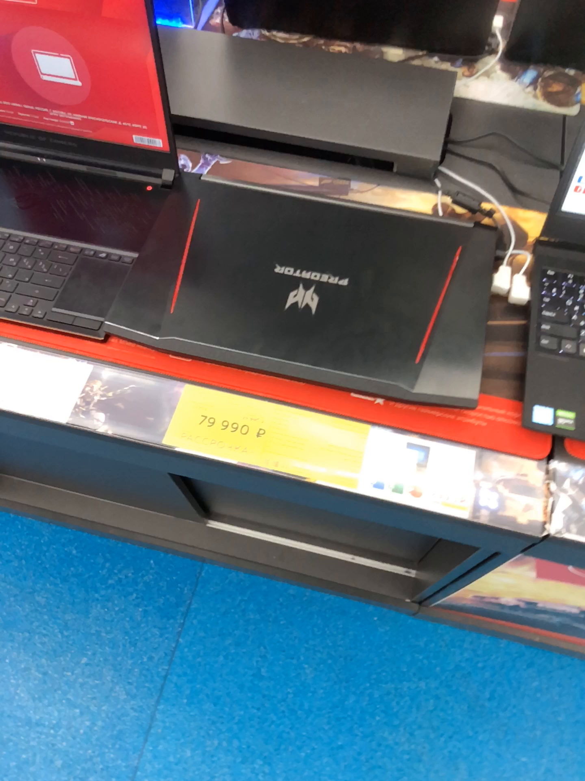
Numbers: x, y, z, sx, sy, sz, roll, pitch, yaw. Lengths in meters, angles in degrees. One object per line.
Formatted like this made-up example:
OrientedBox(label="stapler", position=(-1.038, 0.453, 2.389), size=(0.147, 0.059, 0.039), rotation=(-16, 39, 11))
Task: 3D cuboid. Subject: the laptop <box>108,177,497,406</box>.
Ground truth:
OrientedBox(label="laptop", position=(0.022, -0.121, 0.698), size=(0.377, 0.004, 0.228), rotation=(13, 59, 6))
